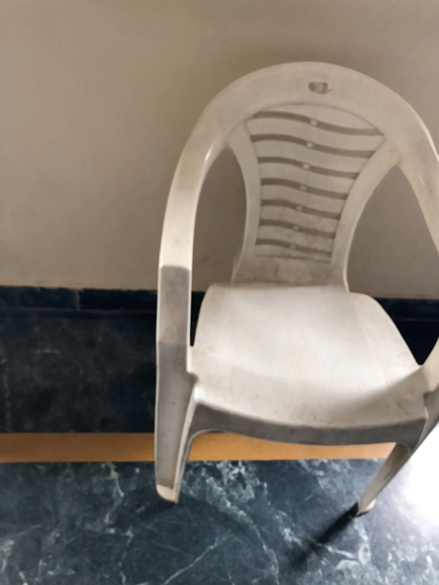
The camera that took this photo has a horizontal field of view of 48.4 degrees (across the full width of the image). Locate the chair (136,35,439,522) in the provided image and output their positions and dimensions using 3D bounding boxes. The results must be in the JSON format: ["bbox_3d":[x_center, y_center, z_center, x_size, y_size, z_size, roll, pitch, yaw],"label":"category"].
[{"bbox_3d":[0.146,0.002,1.028,0.580,0.775,0.624,3,43,-6],"label":"chair"}]
